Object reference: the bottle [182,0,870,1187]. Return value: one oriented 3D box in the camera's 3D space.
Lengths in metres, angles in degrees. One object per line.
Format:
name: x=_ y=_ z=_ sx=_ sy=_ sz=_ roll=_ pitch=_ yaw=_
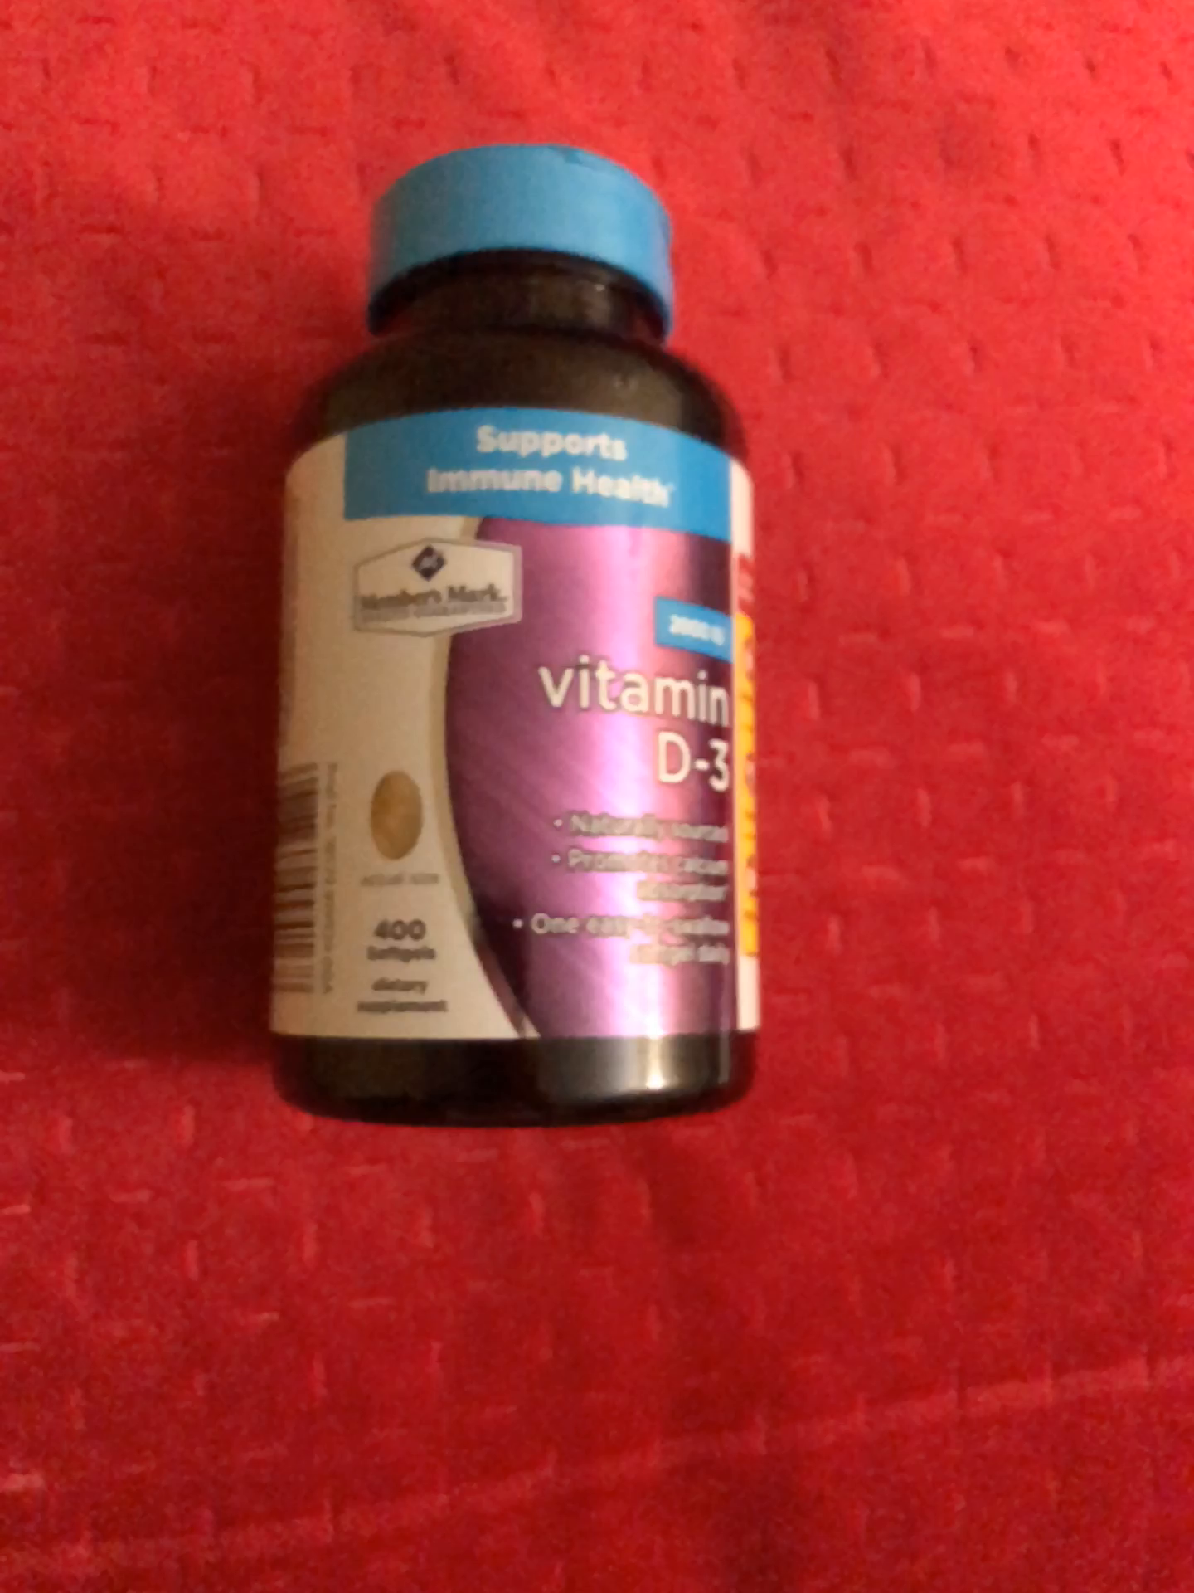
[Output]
bottle: x=-0.010 y=-0.028 z=0.175 sx=0.070 sy=0.060 sz=0.140 roll=0 pitch=85 yaw=-5
